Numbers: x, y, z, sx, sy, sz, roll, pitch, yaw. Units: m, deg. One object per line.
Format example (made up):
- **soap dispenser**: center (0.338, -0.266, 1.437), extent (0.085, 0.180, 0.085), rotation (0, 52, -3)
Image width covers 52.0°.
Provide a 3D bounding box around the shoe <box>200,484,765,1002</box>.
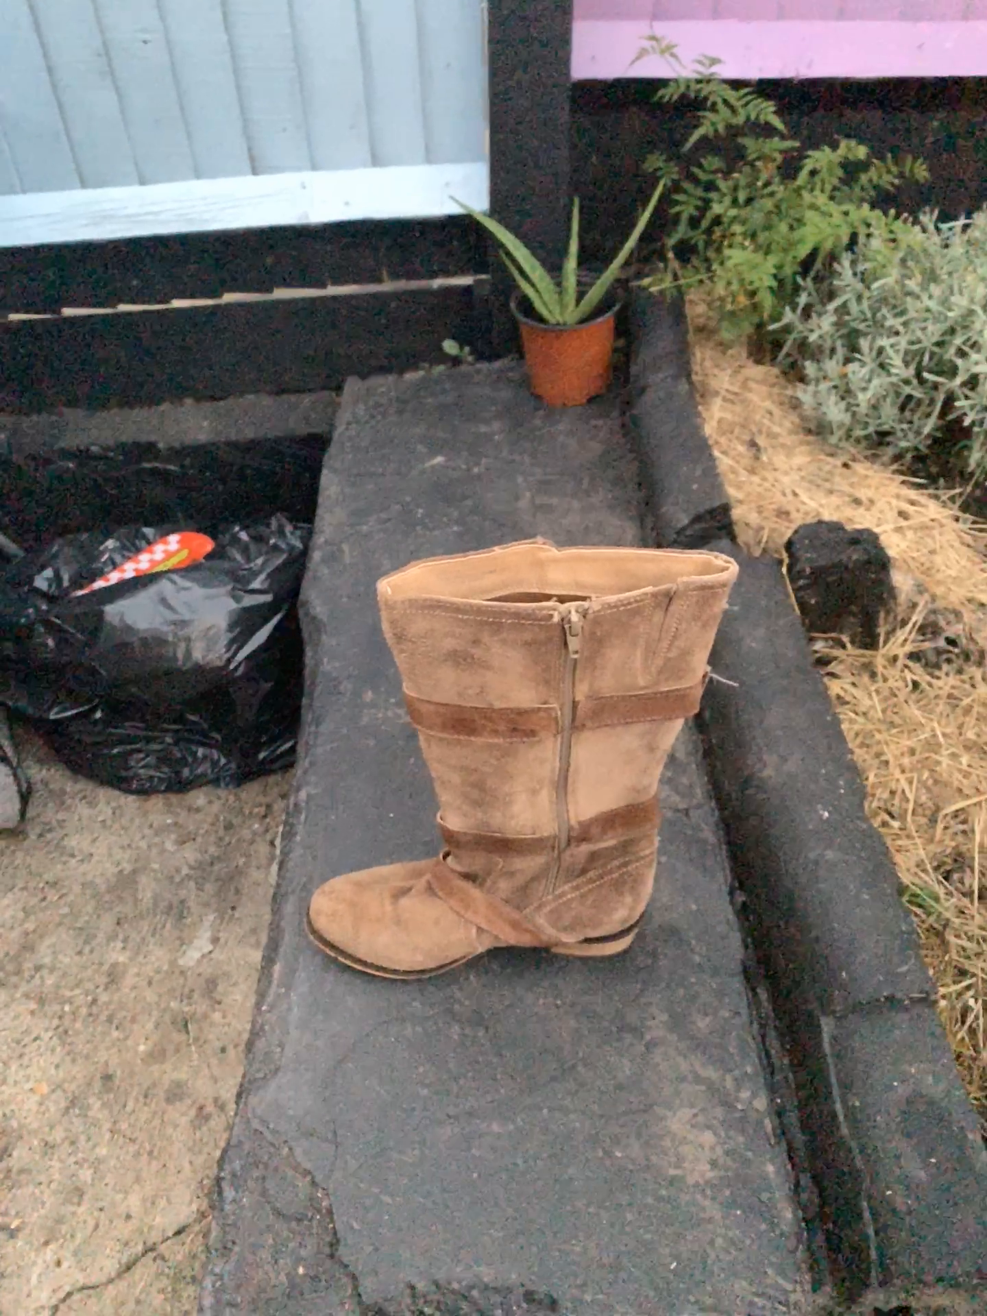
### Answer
- **shoe**: center (-0.001, 0.079, 0.650), extent (0.270, 0.376, 0.101), rotation (-2, 44, 1)
